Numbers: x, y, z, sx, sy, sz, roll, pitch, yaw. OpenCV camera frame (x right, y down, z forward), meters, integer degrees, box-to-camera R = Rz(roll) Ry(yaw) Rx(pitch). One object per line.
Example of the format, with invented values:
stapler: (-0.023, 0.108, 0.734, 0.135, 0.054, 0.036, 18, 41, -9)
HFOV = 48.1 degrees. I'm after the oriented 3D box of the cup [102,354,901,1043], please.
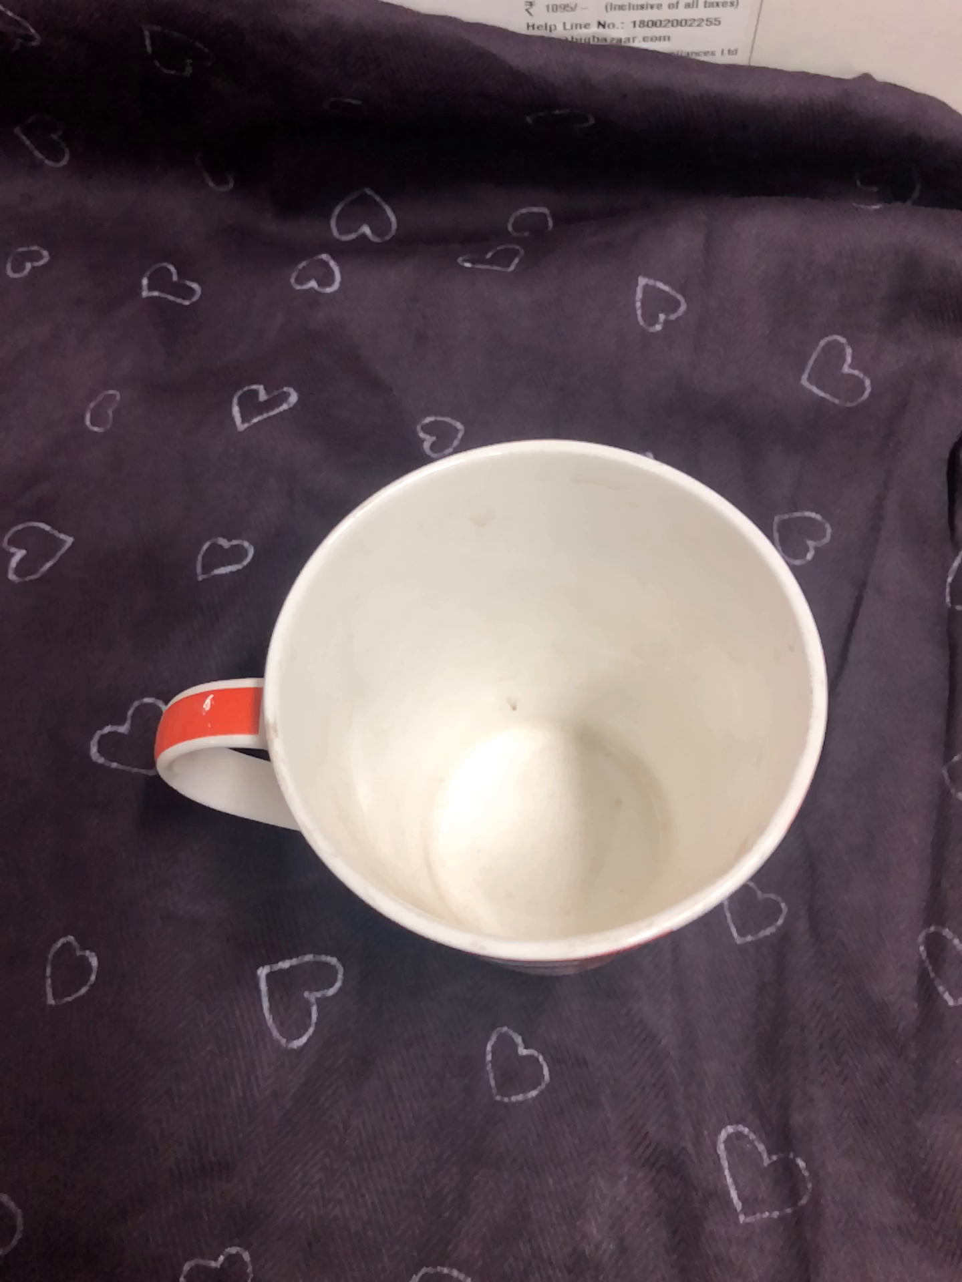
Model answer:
cup: (-0.002, 0.018, 0.212, 0.110, 0.100, 0.090, -7, 64, -3)
